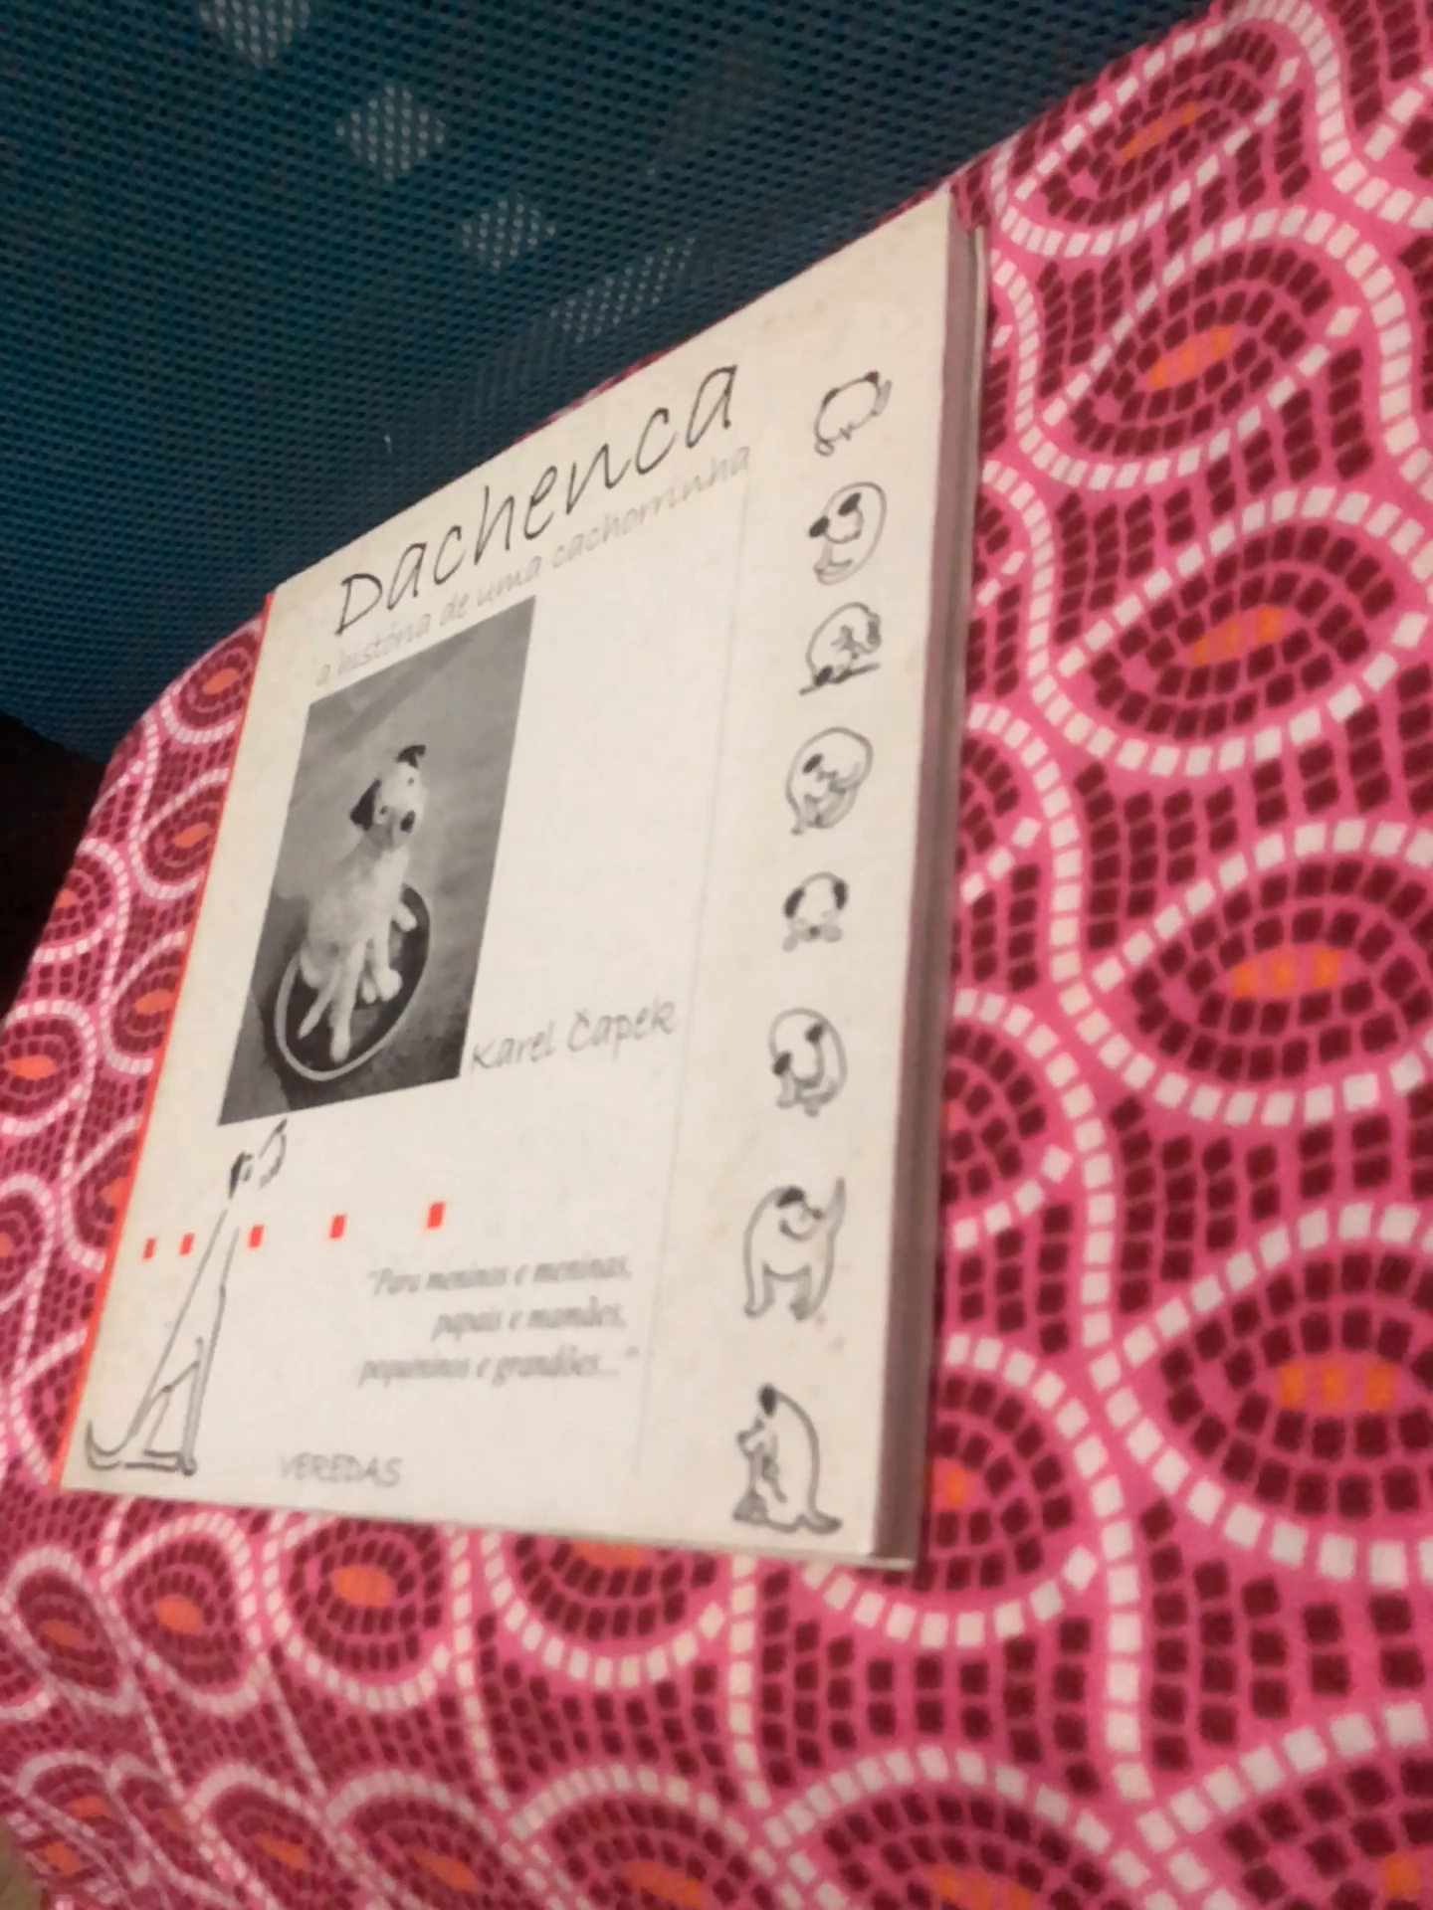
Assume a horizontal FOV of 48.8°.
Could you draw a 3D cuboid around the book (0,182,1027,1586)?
[{"bbox_3d":[-0.043,-0.007,0.295,0.206,0.027,0.216,-14,59,40],"label":"book"}]
